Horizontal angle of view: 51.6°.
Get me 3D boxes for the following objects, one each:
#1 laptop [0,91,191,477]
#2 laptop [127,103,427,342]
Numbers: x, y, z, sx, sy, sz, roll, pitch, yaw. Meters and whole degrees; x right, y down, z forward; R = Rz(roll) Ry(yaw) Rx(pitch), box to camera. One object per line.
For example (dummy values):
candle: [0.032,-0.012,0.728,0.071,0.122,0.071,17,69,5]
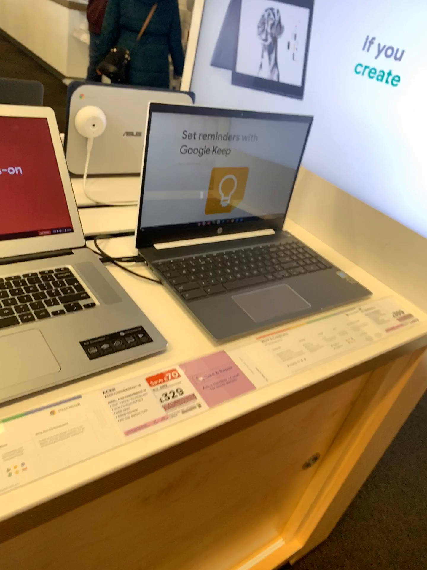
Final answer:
laptop: [-0.312,-0.074,0.549,0.377,0.174,0.427,-13,42,-37]
laptop: [0.094,-0.120,0.729,0.359,0.233,0.268,-11,41,-36]
